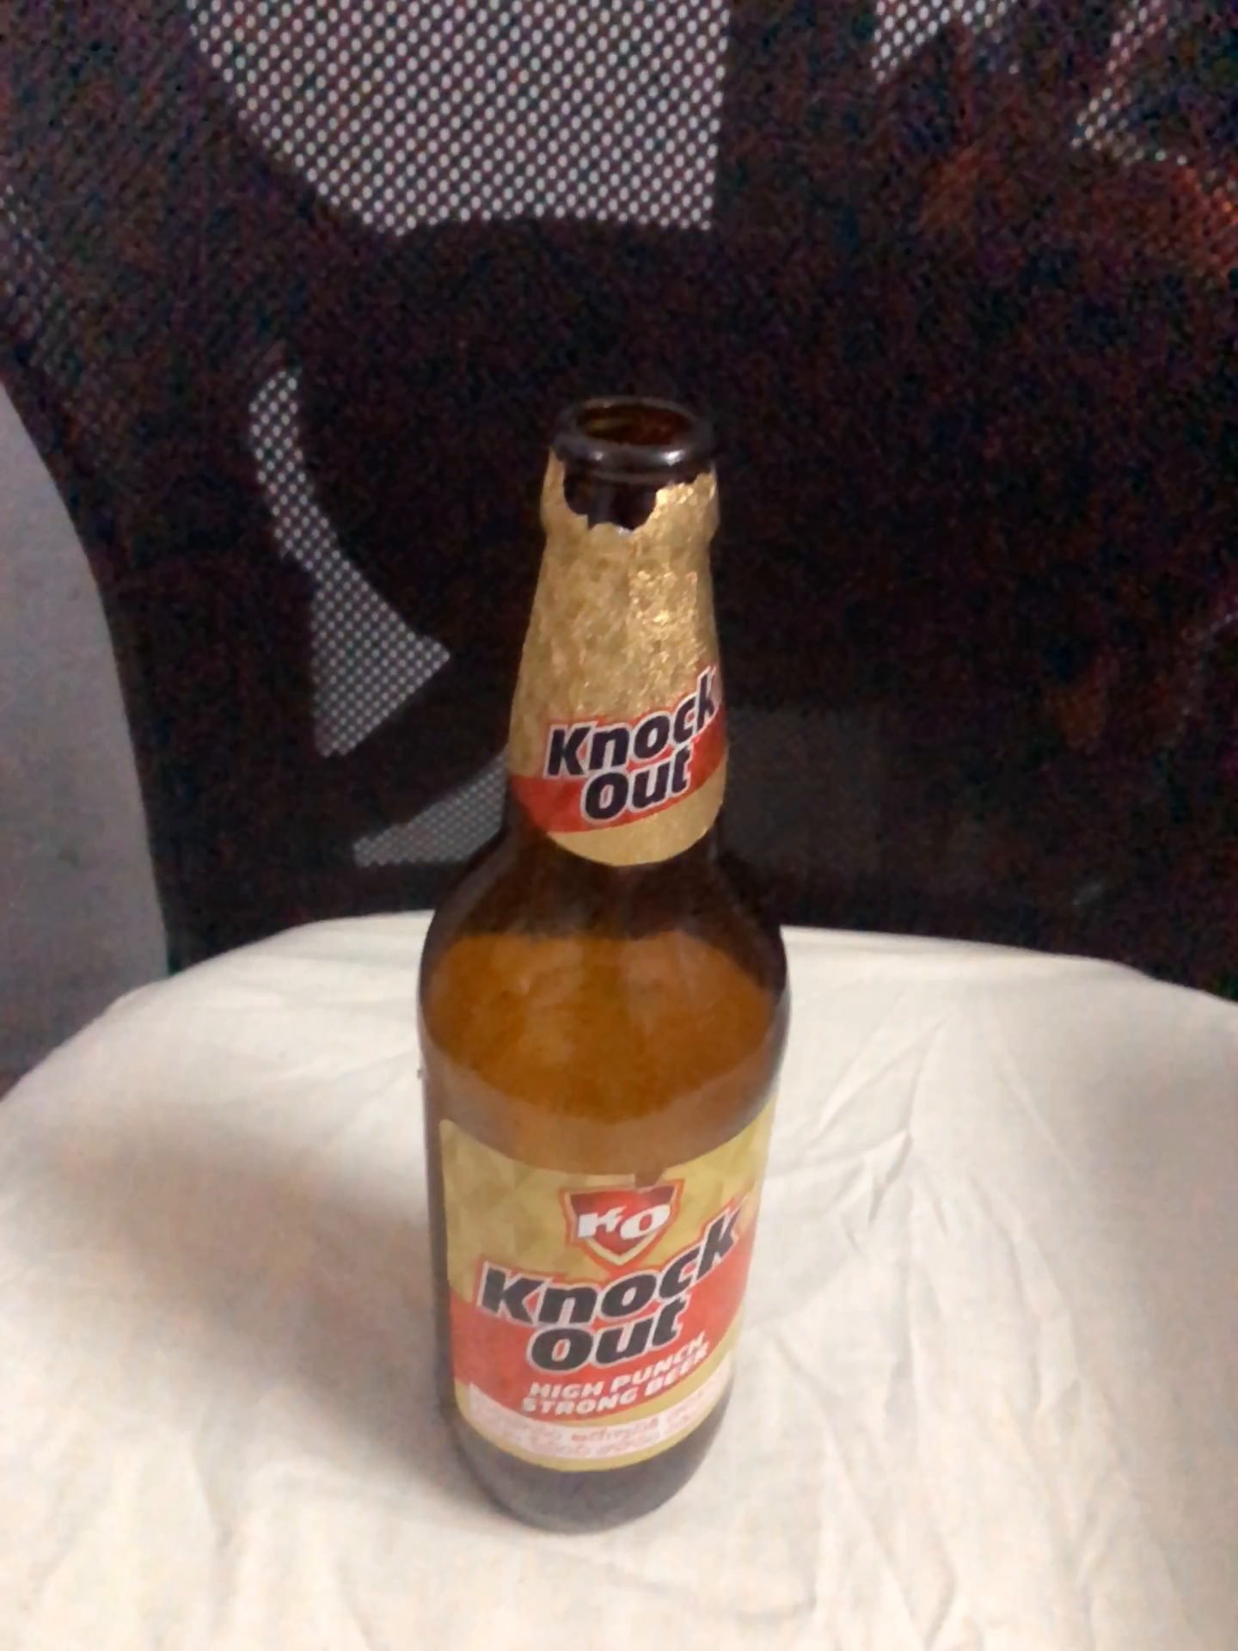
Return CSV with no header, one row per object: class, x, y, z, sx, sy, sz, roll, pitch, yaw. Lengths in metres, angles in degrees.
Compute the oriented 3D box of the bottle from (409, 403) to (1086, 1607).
bottle,0.004,0.052,0.271,0.080,0.249,0.070,-4,38,-13
